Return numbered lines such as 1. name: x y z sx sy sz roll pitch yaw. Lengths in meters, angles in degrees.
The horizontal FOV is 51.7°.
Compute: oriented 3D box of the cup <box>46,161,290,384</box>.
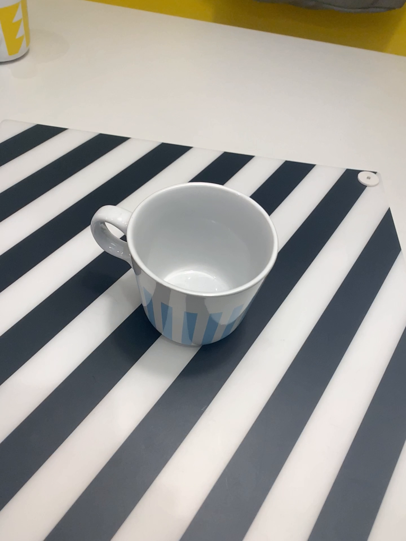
1. cup: -0.018 0.000 0.255 0.110 0.070 0.080 19 52 7
